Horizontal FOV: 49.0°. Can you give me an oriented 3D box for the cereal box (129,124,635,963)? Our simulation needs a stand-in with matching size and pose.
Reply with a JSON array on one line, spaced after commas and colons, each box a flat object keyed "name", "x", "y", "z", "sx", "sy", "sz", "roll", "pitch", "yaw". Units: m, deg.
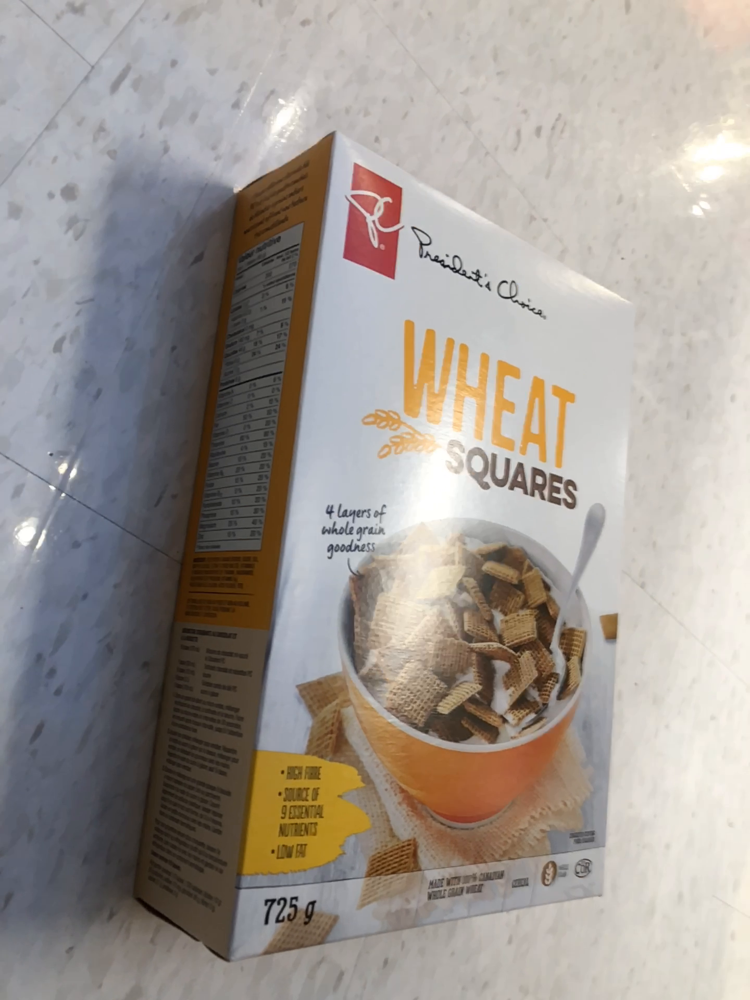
[{"name": "cereal box", "x": 0.022, "y": 0.023, "z": 0.374, "sx": 0.201, "sy": 0.080, "sz": 0.290, "roll": 14, "pitch": 76, "yaw": -39}]
